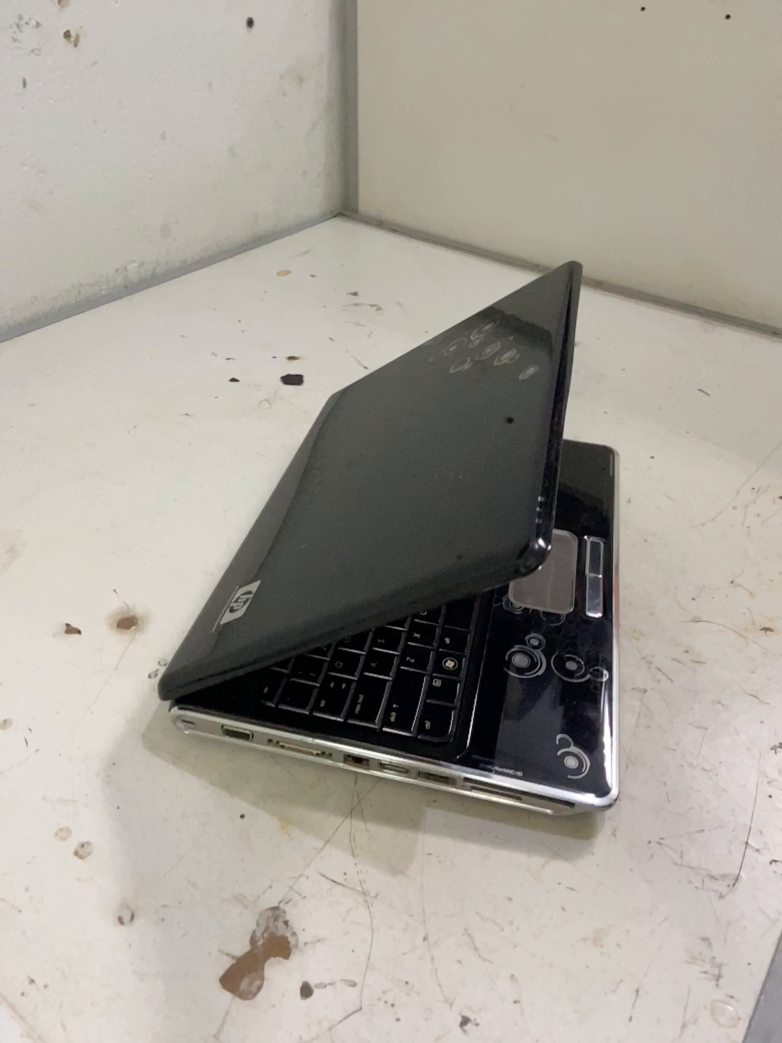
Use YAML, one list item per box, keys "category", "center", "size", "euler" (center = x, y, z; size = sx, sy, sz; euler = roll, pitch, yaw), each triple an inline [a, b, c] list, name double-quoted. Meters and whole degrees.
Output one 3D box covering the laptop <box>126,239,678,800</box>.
- category: "laptop"
  center: [0.035, -0.037, 0.495]
  size: [0.231, 0.137, 0.330]
  euler: [10, 38, 9]
